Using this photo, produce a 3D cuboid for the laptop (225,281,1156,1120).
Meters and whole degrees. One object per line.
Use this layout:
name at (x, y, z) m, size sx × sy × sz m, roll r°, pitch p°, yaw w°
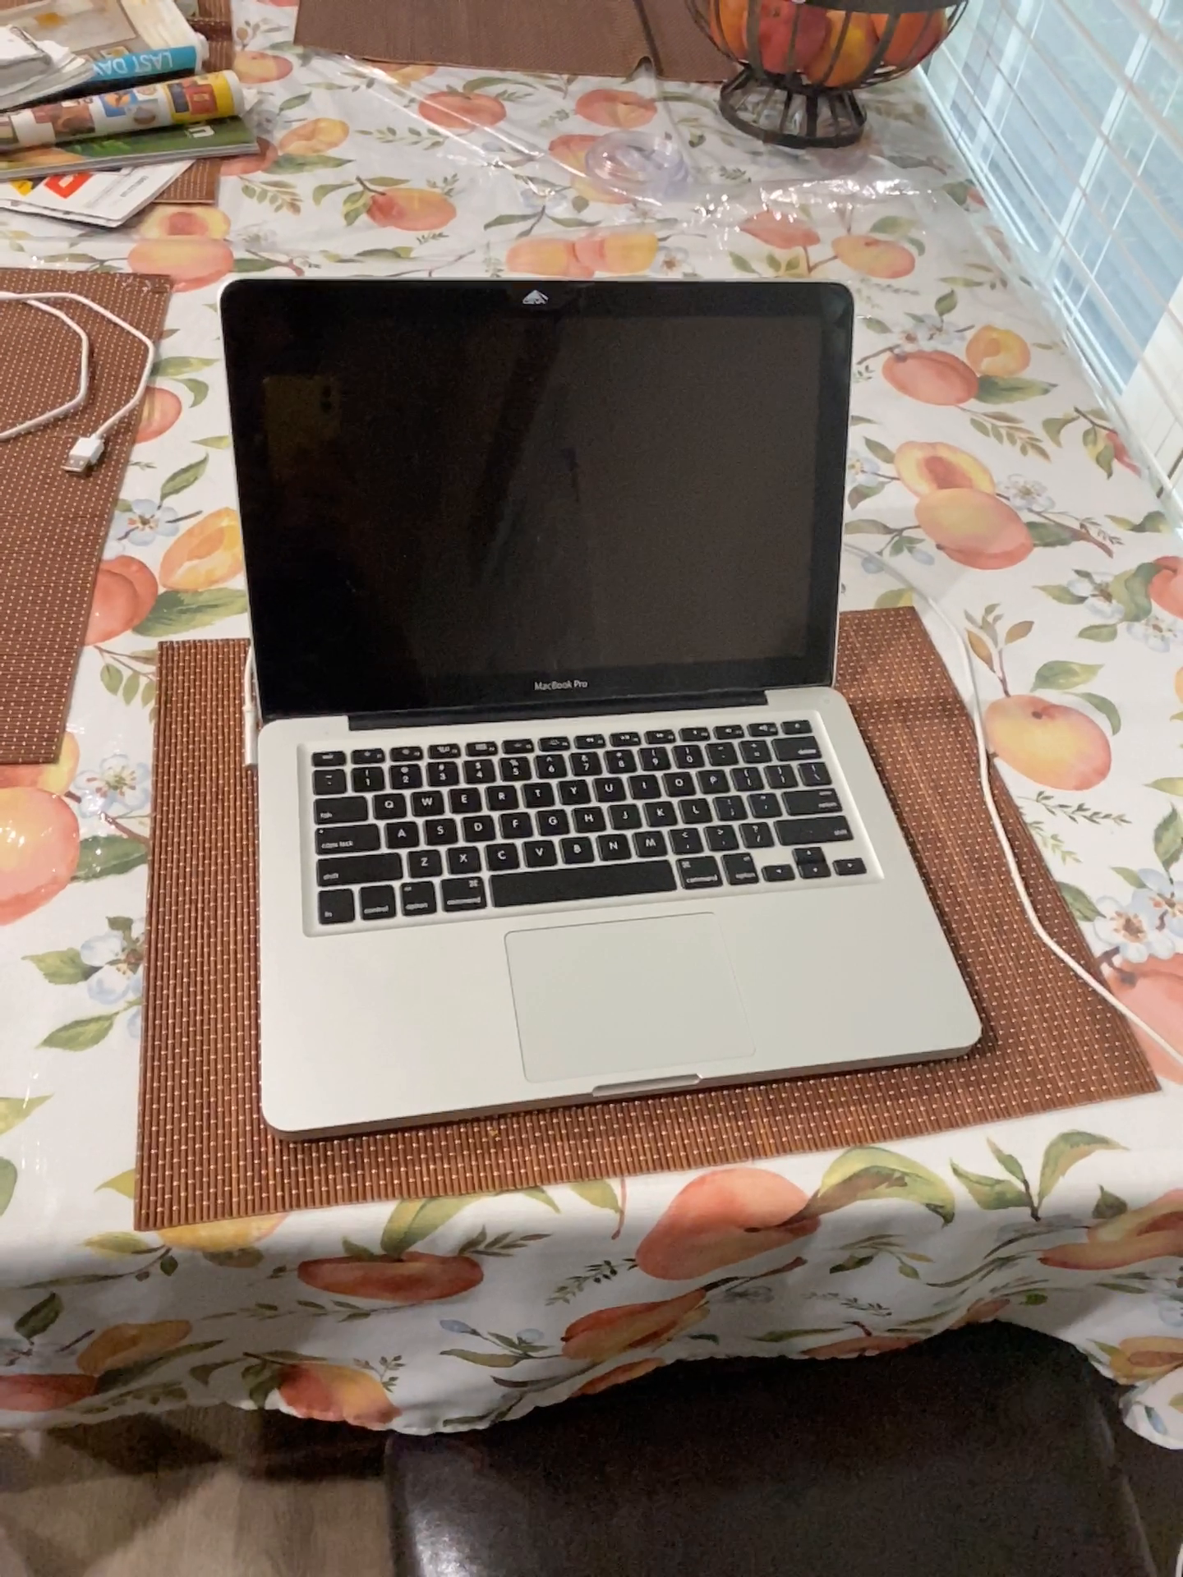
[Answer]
laptop at (0.007, -0.065, 0.564) m, size 0.317 × 0.162 × 0.350 m, roll -5°, pitch 53°, yaw -10°
